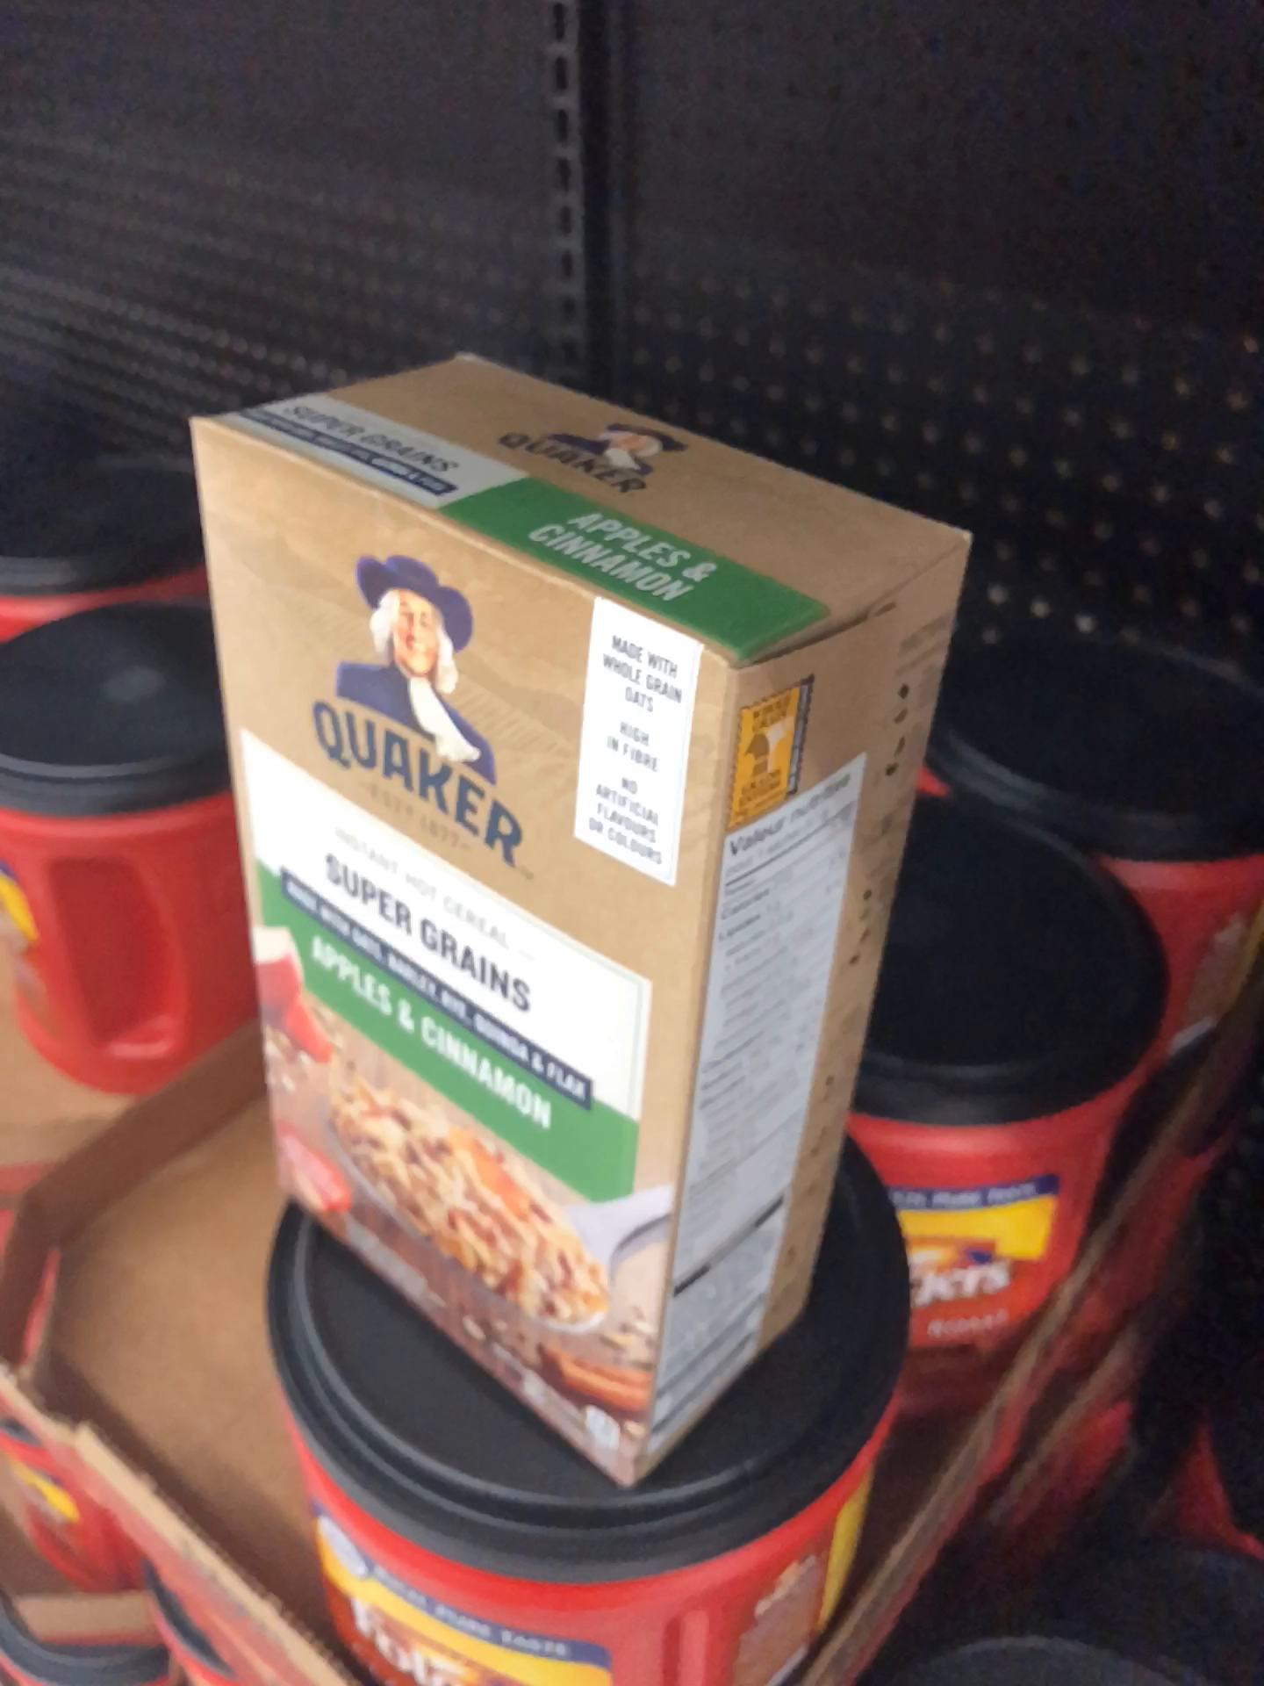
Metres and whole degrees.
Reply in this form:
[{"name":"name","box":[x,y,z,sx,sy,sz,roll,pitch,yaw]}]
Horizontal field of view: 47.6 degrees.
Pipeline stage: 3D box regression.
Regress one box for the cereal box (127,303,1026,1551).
[{"name":"cereal box","box":[-0.018,0.017,0.282,0.140,0.199,0.060,30,44,34]}]
